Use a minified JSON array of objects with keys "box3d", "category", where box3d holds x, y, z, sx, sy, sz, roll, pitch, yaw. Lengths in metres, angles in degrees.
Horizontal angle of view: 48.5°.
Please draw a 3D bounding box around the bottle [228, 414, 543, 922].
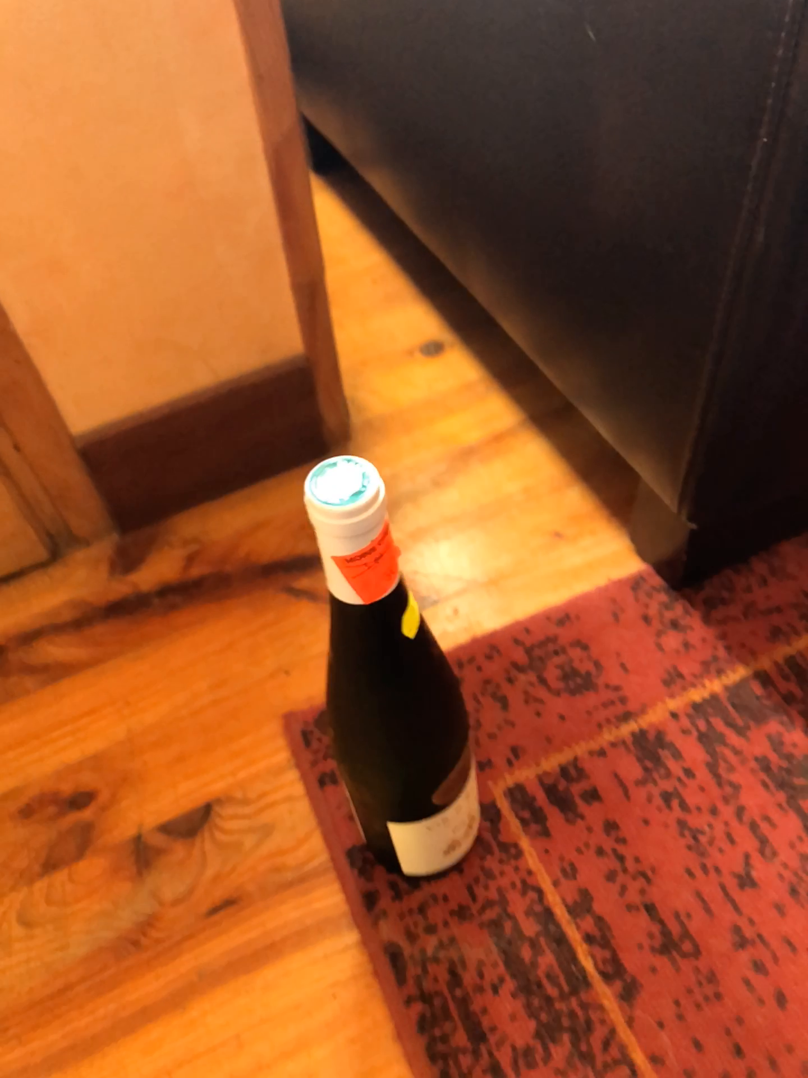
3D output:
[{"box3d":[0.006,0.085,0.421,0.080,0.298,0.080,-3,53,3],"category":"bottle"}]
